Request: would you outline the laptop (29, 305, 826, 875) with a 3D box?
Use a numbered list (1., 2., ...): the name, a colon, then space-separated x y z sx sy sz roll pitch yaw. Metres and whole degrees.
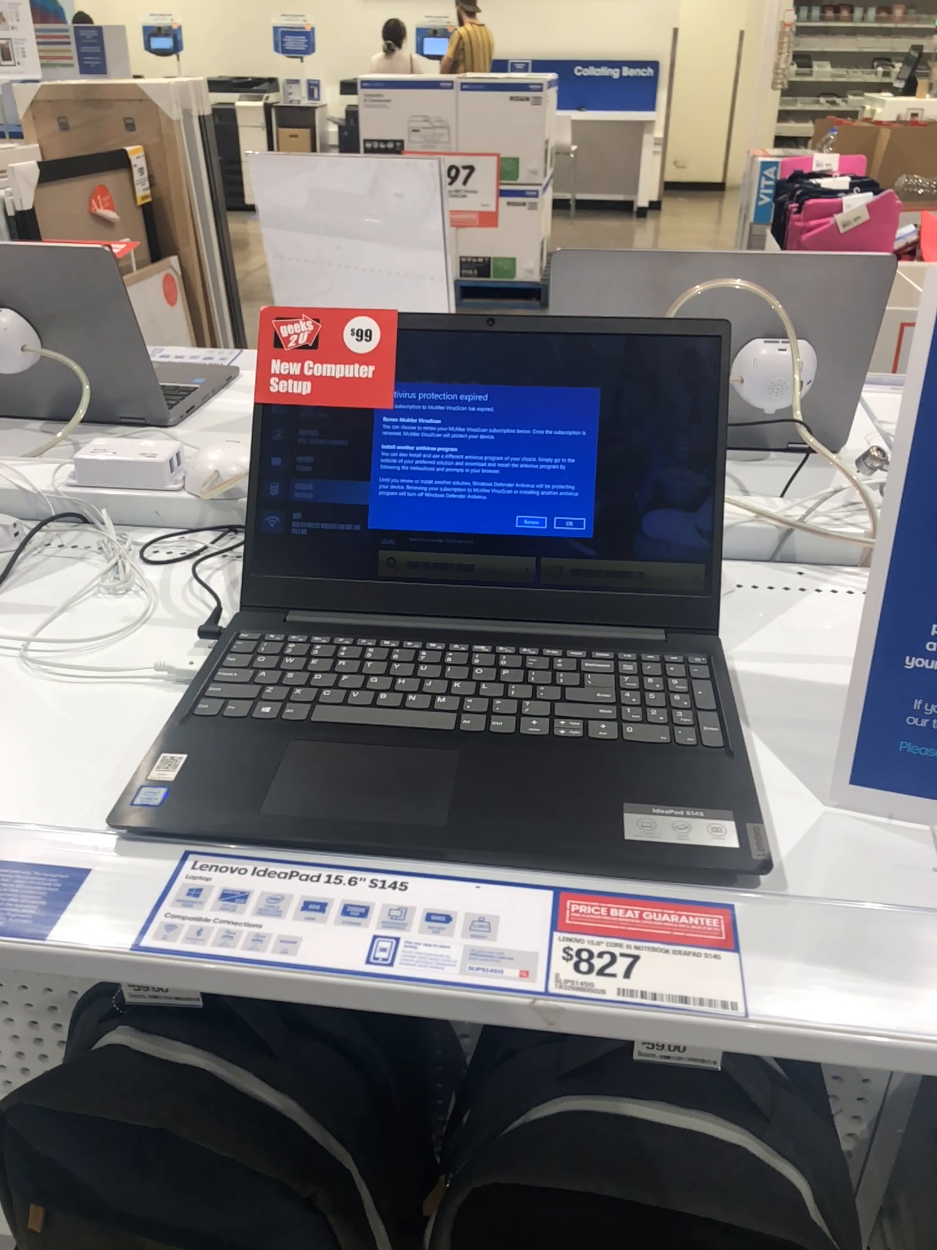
1. laptop: -0.006 -0.058 0.658 0.353 0.192 0.370 3 30 5
